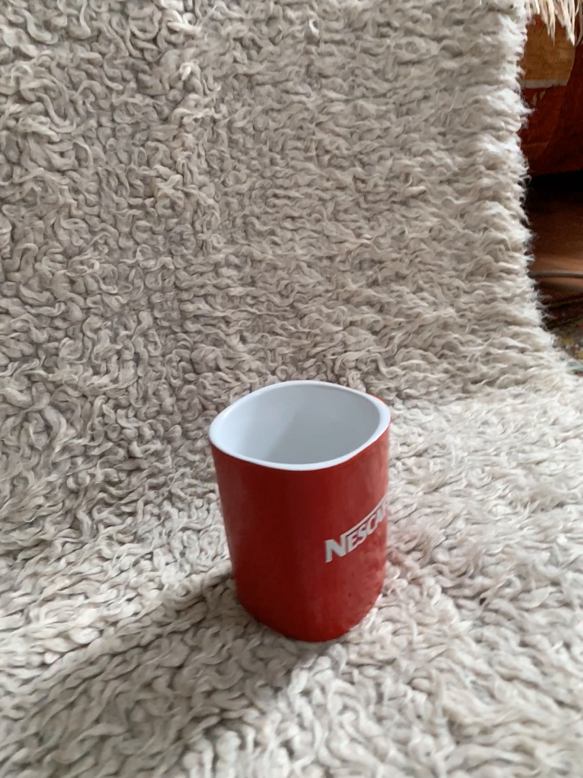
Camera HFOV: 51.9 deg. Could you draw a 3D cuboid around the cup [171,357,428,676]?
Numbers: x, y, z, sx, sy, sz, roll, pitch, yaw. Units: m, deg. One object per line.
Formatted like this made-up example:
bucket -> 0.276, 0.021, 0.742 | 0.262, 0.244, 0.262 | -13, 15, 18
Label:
cup -> 0.013, 0.062, 0.345 | 0.088, 0.110, 0.122 | 12, 31, 31
